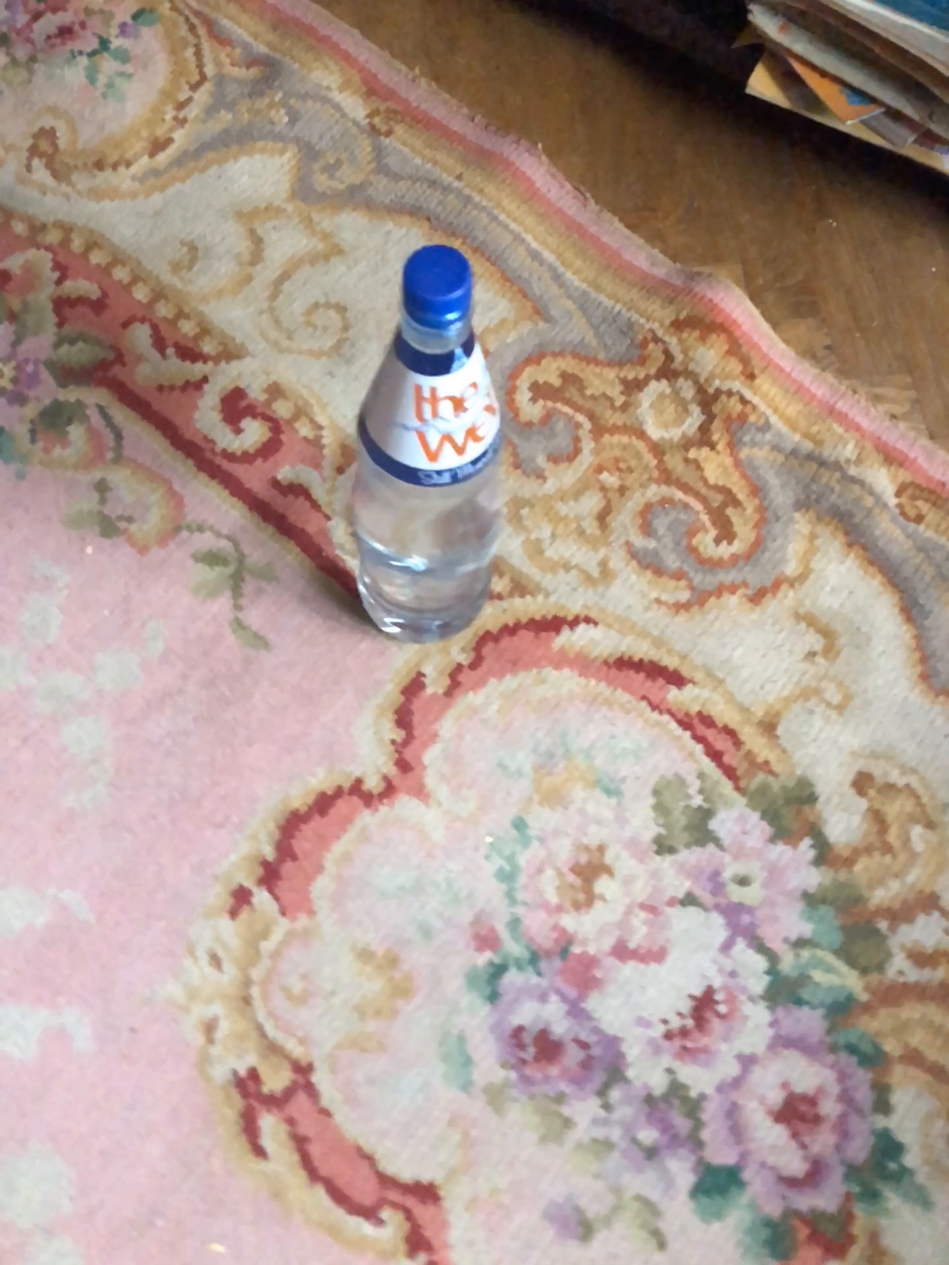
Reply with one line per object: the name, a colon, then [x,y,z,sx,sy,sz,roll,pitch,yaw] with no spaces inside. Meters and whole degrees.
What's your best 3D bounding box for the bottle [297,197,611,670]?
bottle: [-0.022,-0.088,0.600,0.110,0.309,0.100,2,70,-4]
